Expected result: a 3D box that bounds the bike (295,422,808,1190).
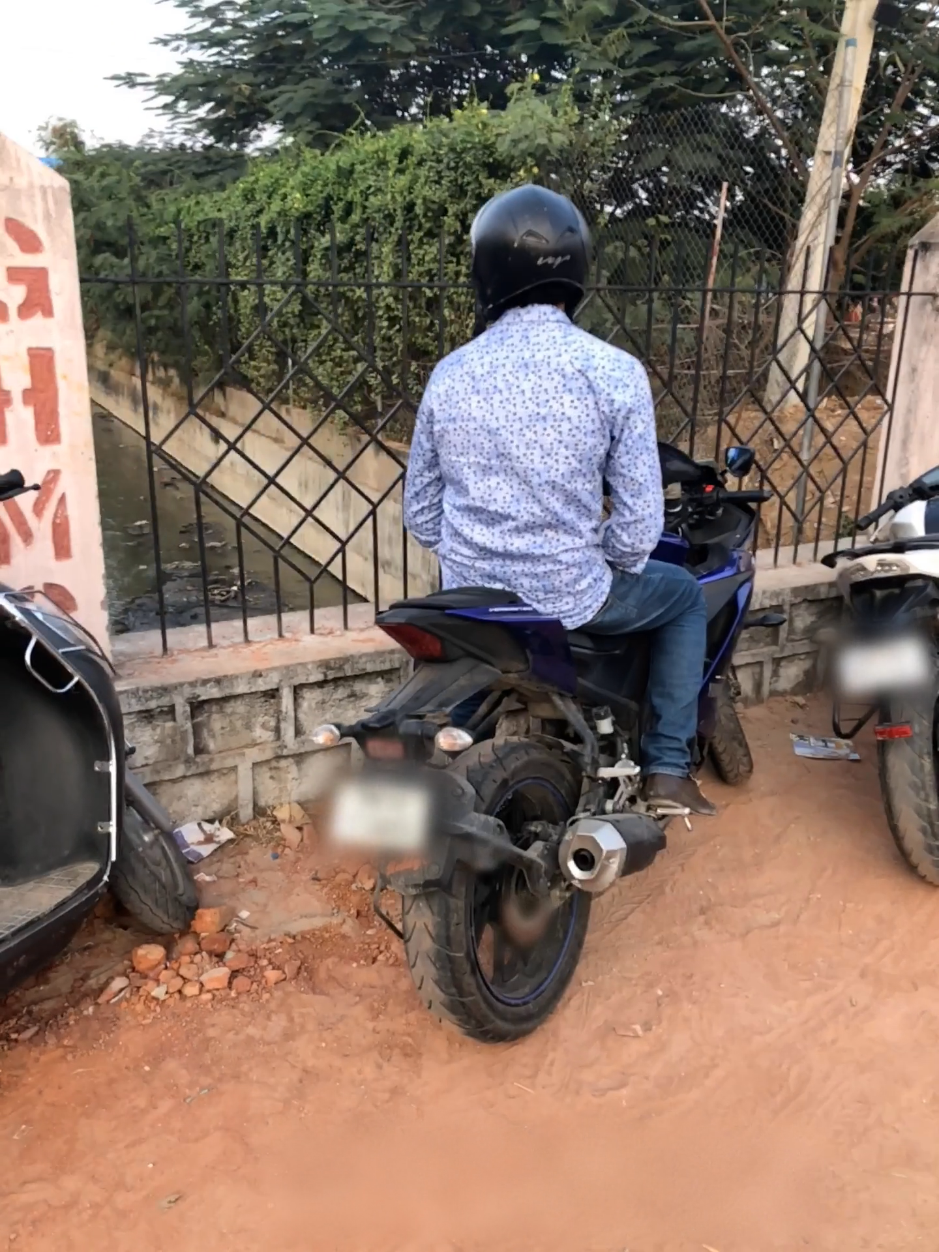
[{"bbox_3d":[0.370,0.153,2.657,0.730,0.995,1.954,8,21,20],"label":"bike"}]
